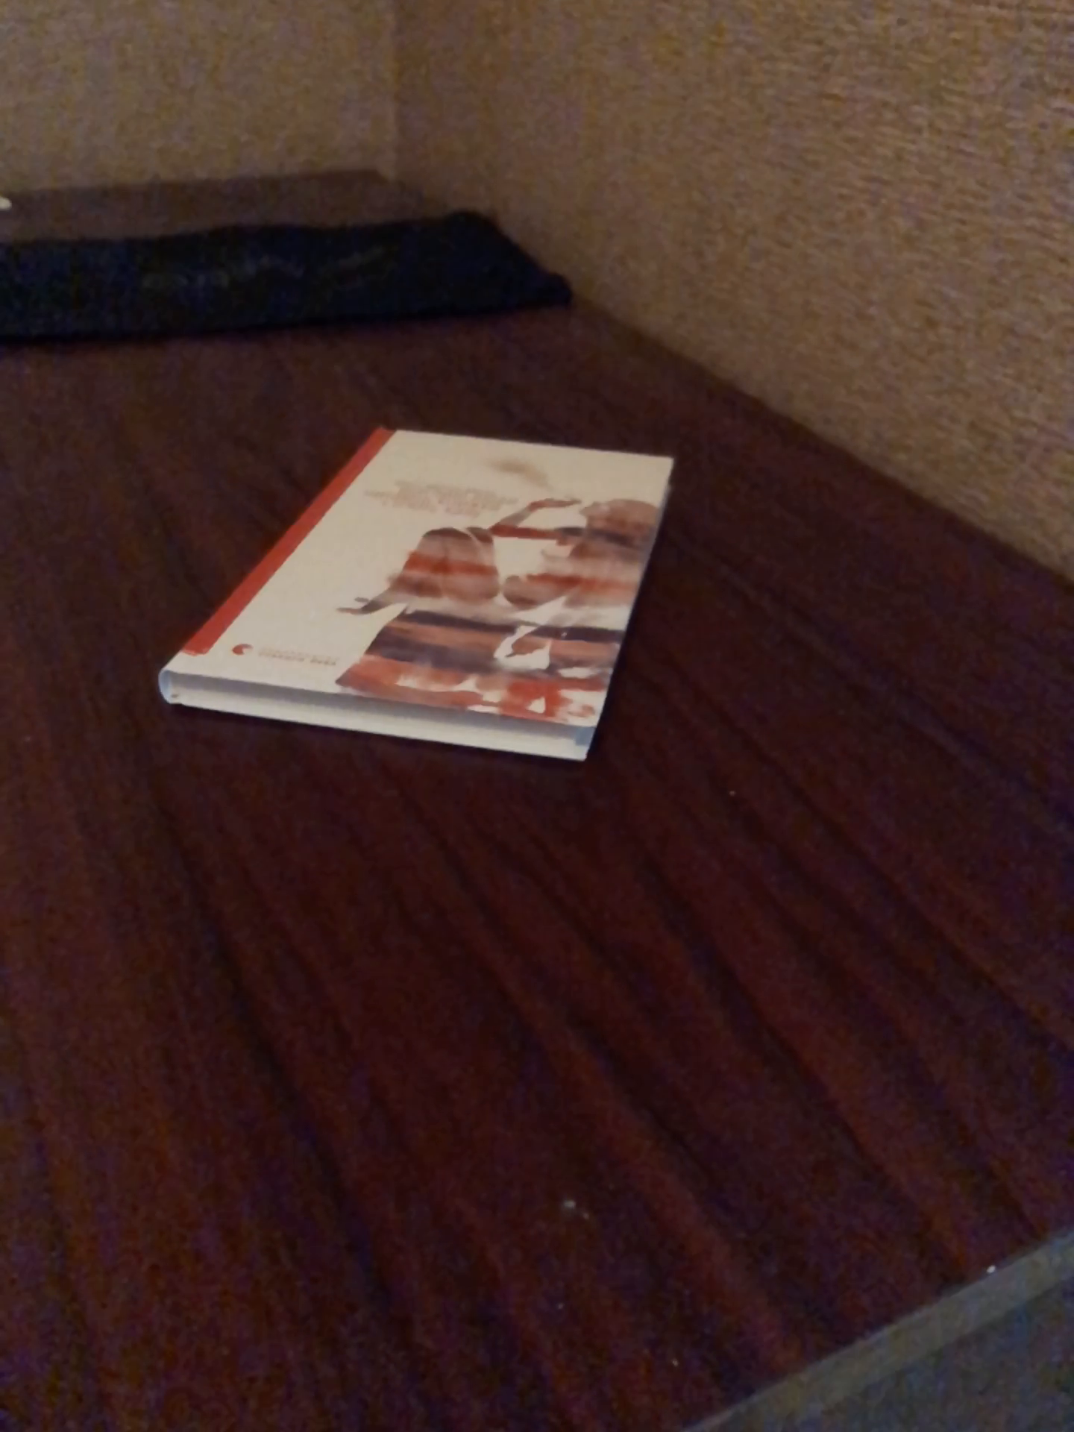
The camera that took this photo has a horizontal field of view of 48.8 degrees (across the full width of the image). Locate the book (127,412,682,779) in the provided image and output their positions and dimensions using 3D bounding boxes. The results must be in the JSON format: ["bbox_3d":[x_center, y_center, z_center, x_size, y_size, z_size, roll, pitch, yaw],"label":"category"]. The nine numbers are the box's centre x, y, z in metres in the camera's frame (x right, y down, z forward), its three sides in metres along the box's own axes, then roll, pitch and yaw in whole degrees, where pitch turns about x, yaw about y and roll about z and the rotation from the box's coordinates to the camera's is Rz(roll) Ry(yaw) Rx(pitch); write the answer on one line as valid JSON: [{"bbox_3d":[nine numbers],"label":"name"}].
[{"bbox_3d":[-0.032,-0.062,0.456,0.150,0.020,0.229,8,34,9],"label":"book"}]
